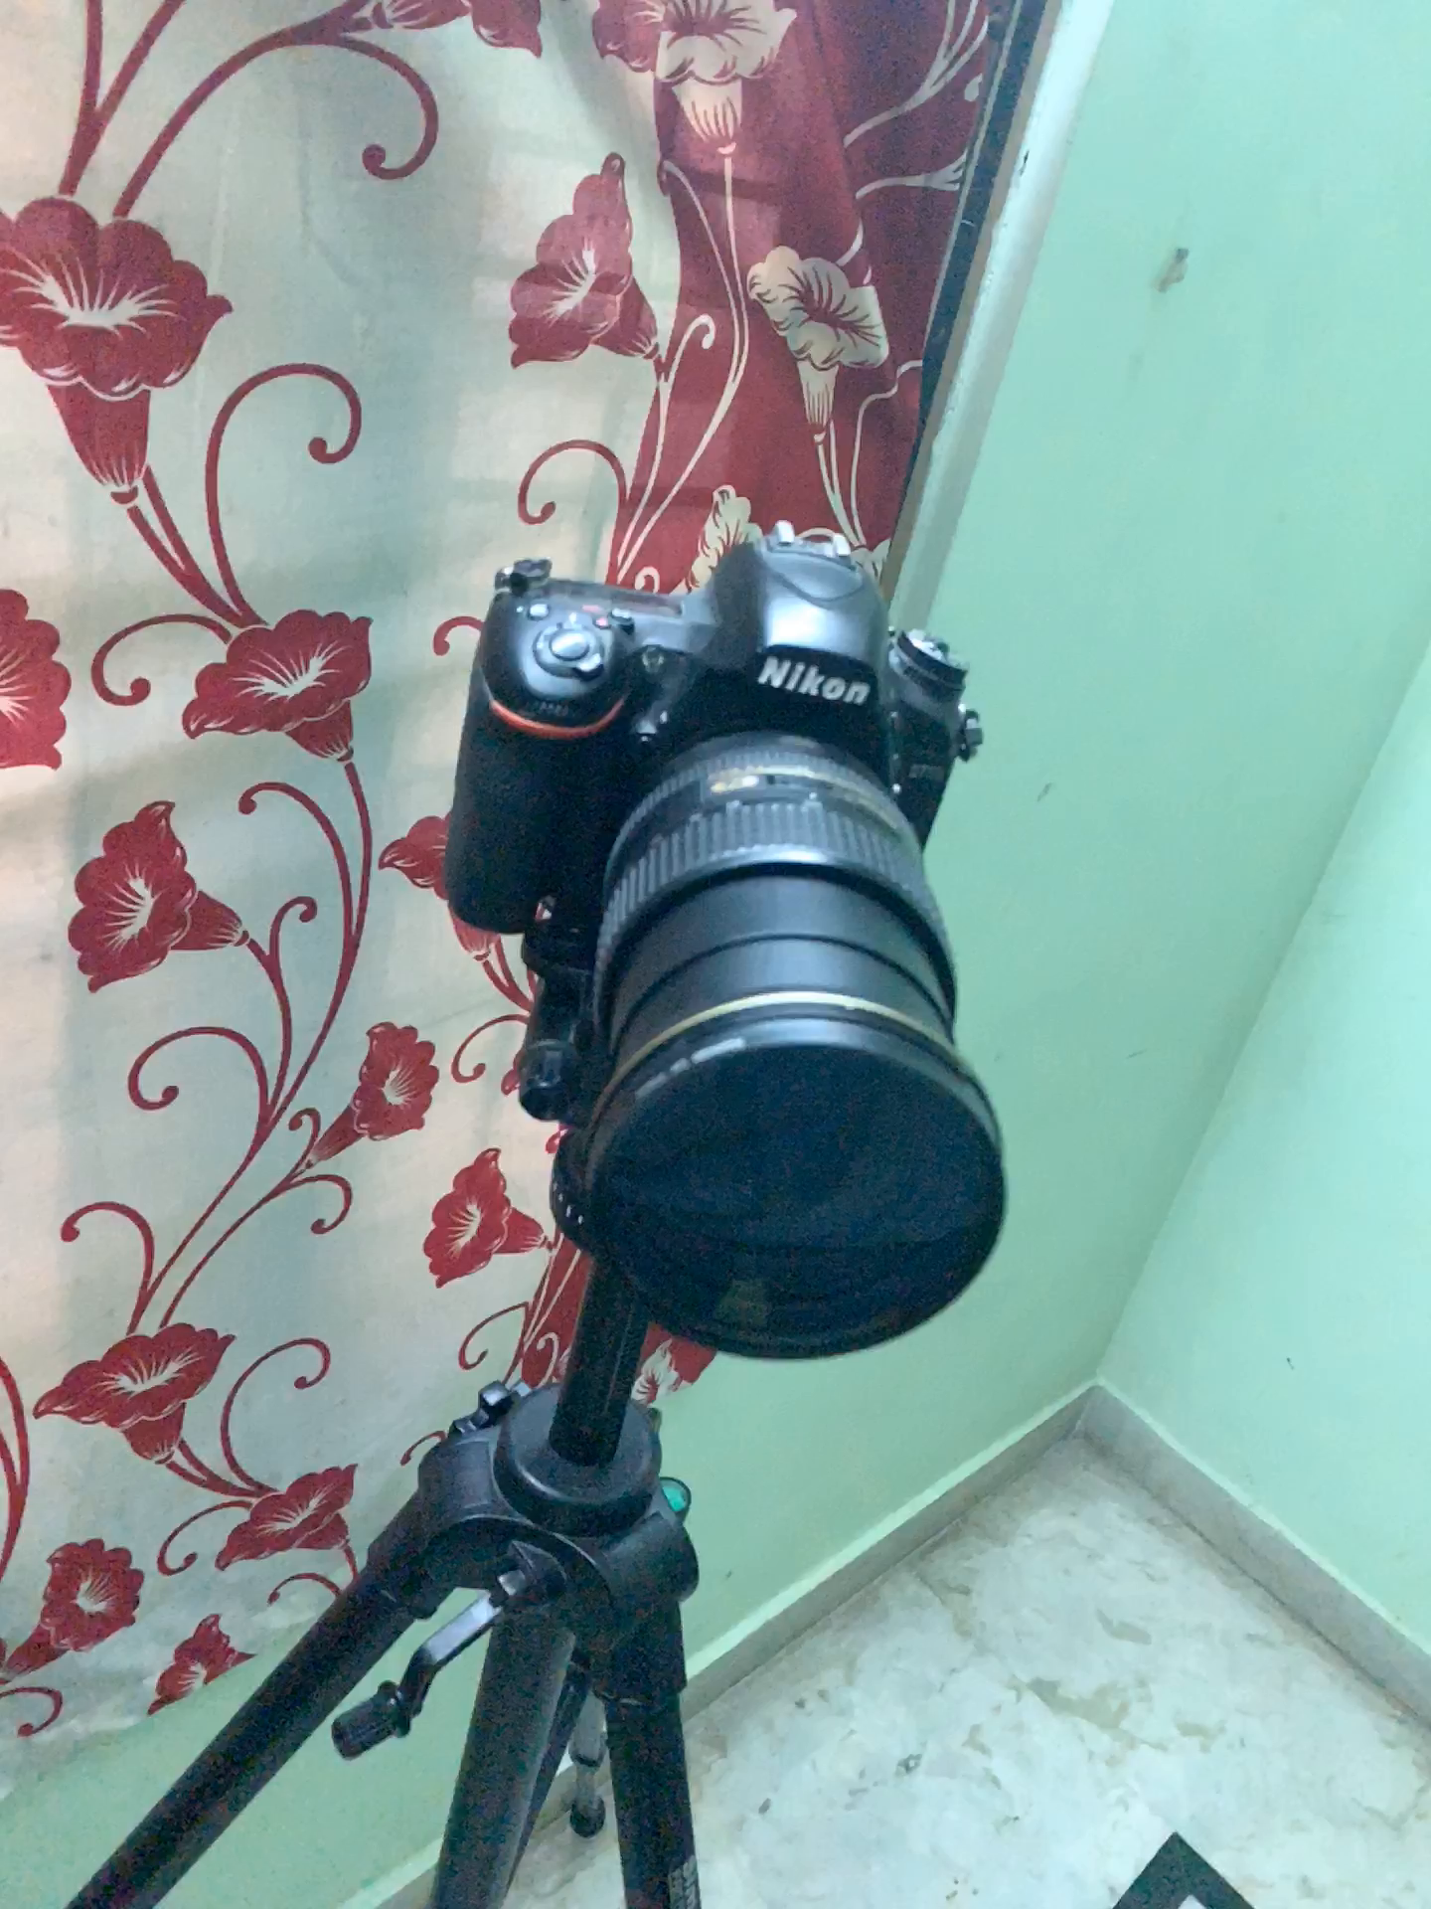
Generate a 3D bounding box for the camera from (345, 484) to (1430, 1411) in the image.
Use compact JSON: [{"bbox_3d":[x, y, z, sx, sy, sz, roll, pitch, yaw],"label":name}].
[{"bbox_3d":[0.019,-0.011,0.336,0.172,0.122,0.171,8,29,-11],"label":"camera"}]
